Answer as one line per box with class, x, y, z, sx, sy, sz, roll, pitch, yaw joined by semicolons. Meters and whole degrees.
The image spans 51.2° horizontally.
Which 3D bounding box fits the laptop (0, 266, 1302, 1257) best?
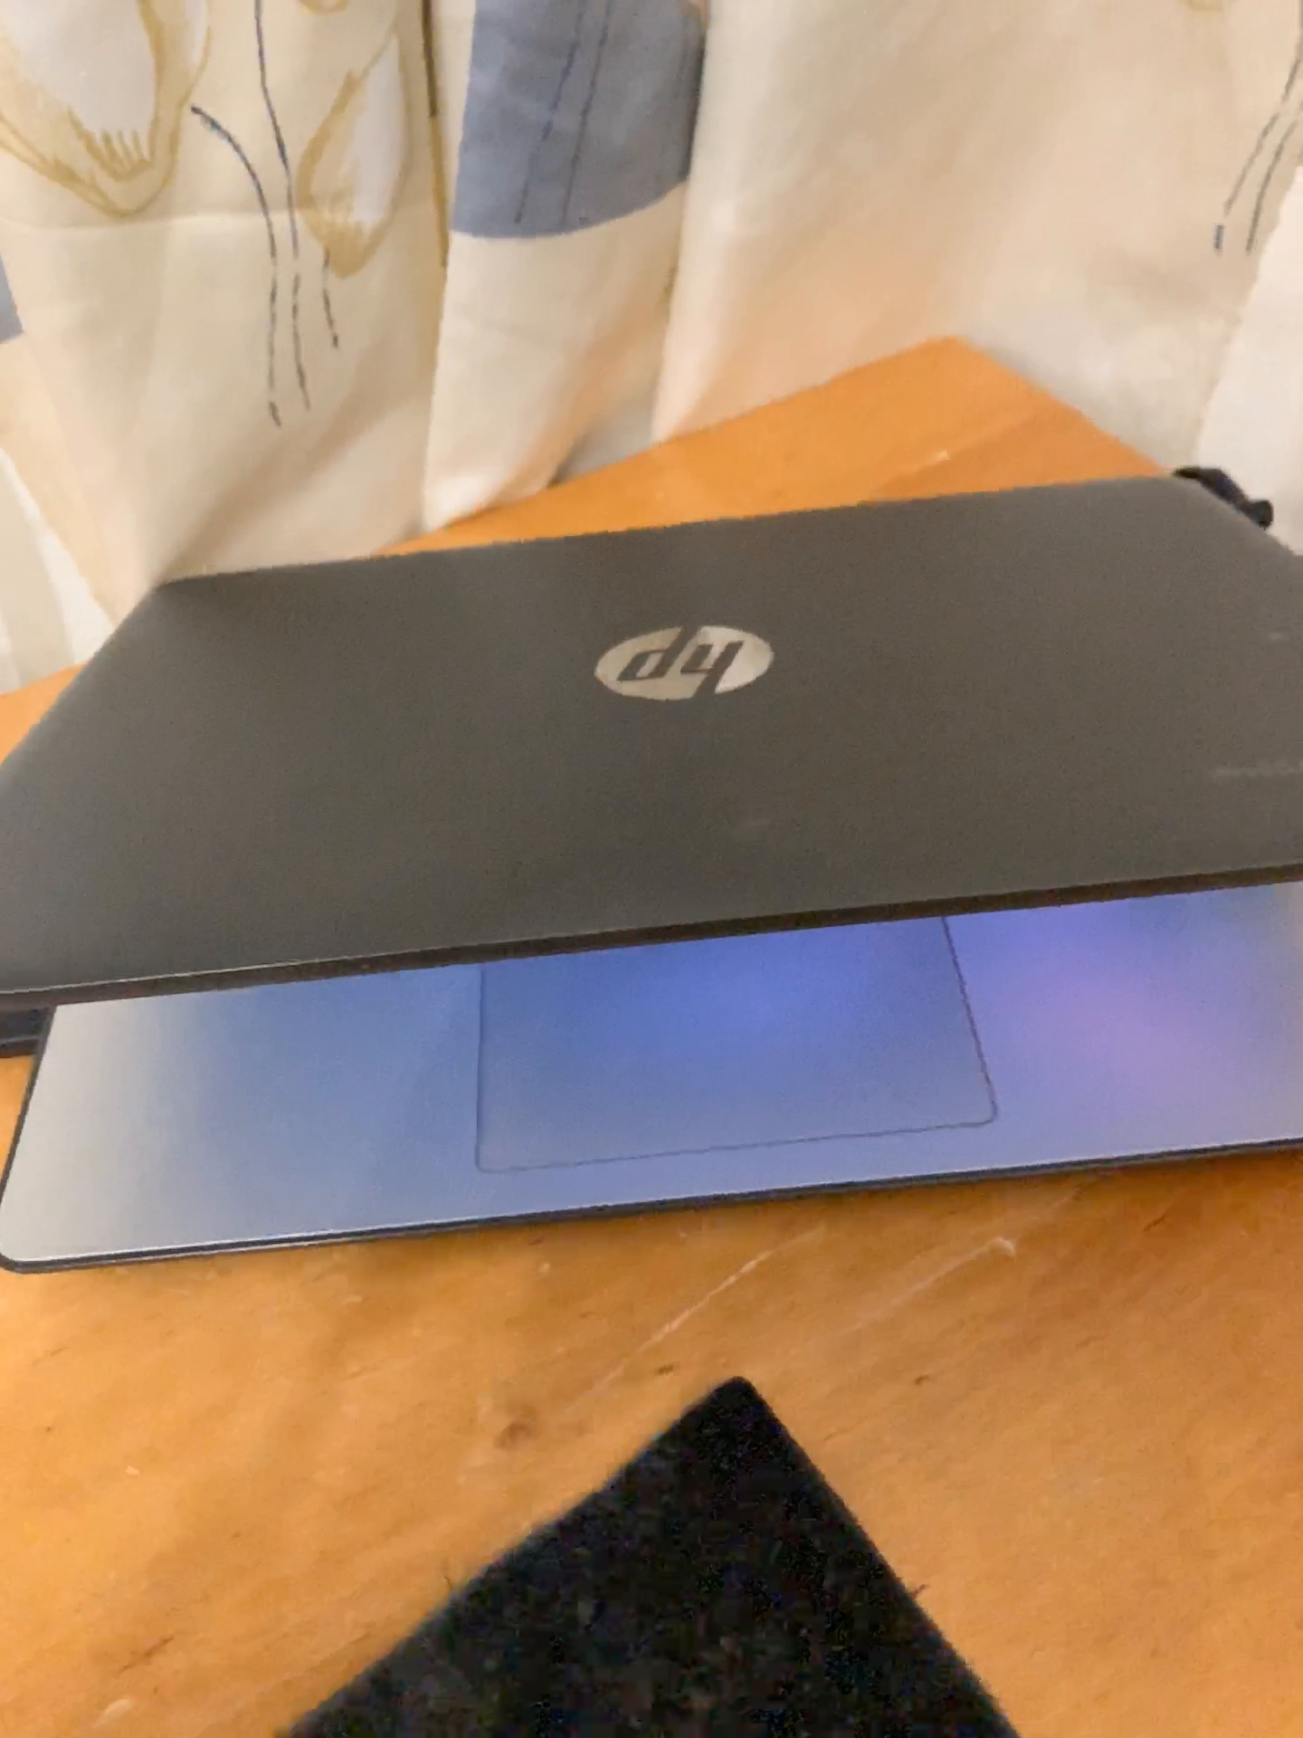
laptop;0.008;-0.036;0.284;0.267;0.066;0.191;-6;48;1
